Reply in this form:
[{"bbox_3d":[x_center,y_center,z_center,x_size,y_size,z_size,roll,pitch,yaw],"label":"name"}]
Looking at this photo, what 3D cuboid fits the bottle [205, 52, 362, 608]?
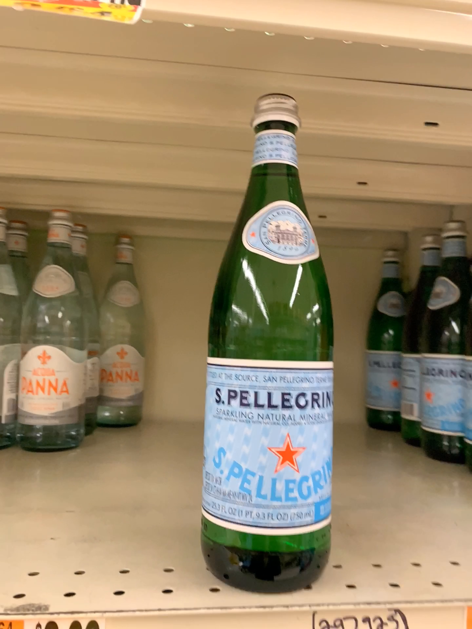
[{"bbox_3d":[0.027,0.006,0.300,0.078,0.302,0.065,2,-2,0],"label":"bottle"}]
